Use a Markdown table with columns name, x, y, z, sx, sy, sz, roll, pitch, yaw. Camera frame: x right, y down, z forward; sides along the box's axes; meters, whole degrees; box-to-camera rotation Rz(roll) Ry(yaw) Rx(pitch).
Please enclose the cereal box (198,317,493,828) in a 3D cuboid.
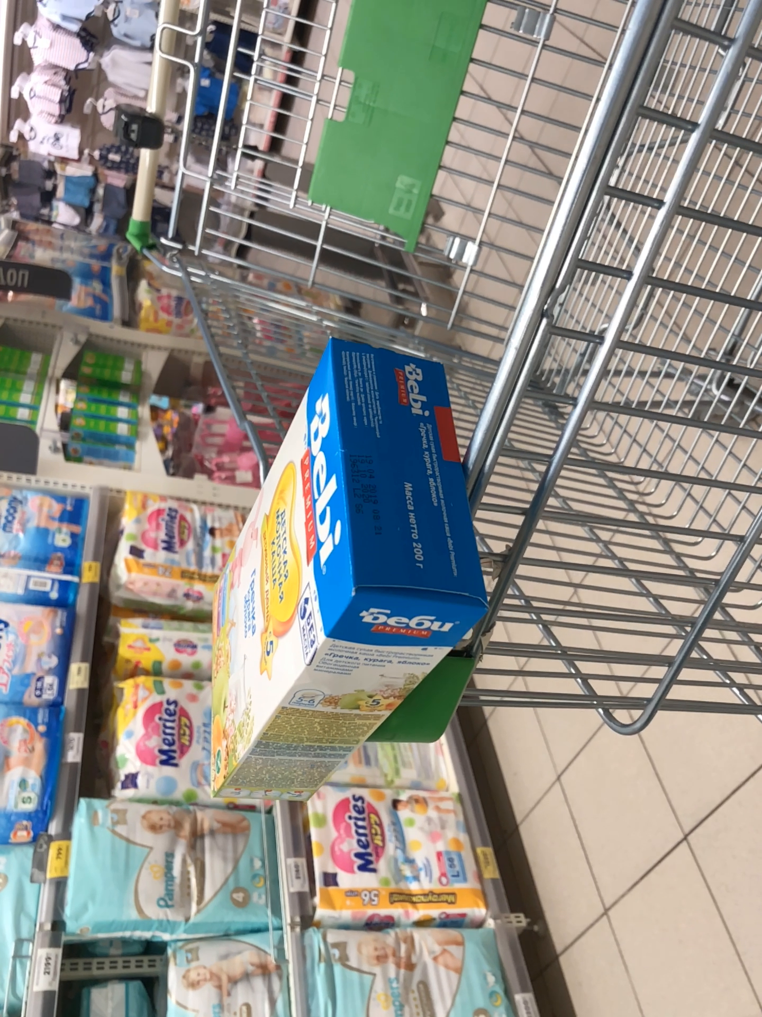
| name | x | y | z | sx | sy | sz | roll | pitch | yaw |
| --- | --- | --- | --- | --- | --- | --- | --- | --- | --- |
| cereal box | -0.033 | 0.043 | 0.385 | 0.211 | 0.050 | 0.140 | 124 | 149 | -47 |
